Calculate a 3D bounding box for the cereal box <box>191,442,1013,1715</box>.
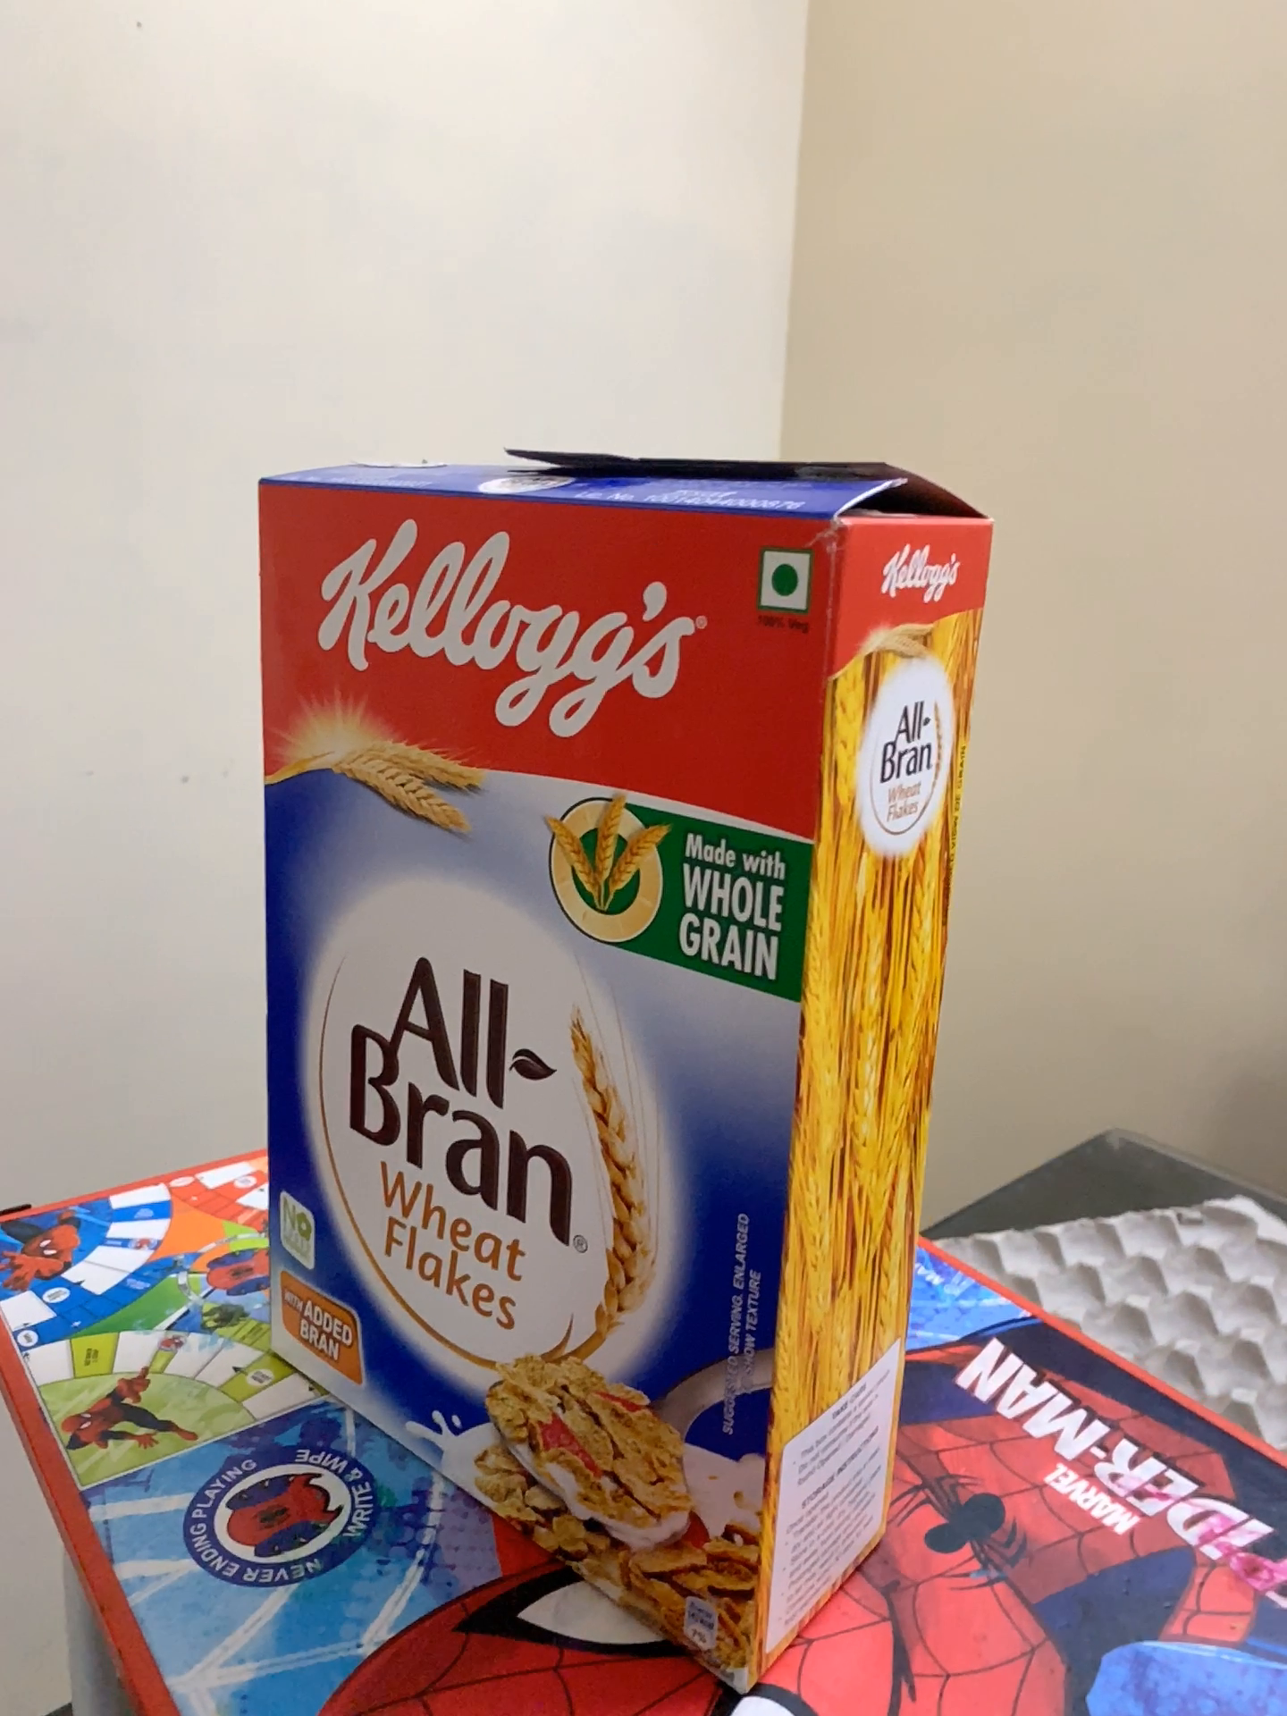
[{"bbox_3d":[-0.026,0.032,0.323,0.190,0.249,0.060,15,18,39],"label":"cereal box"}]
